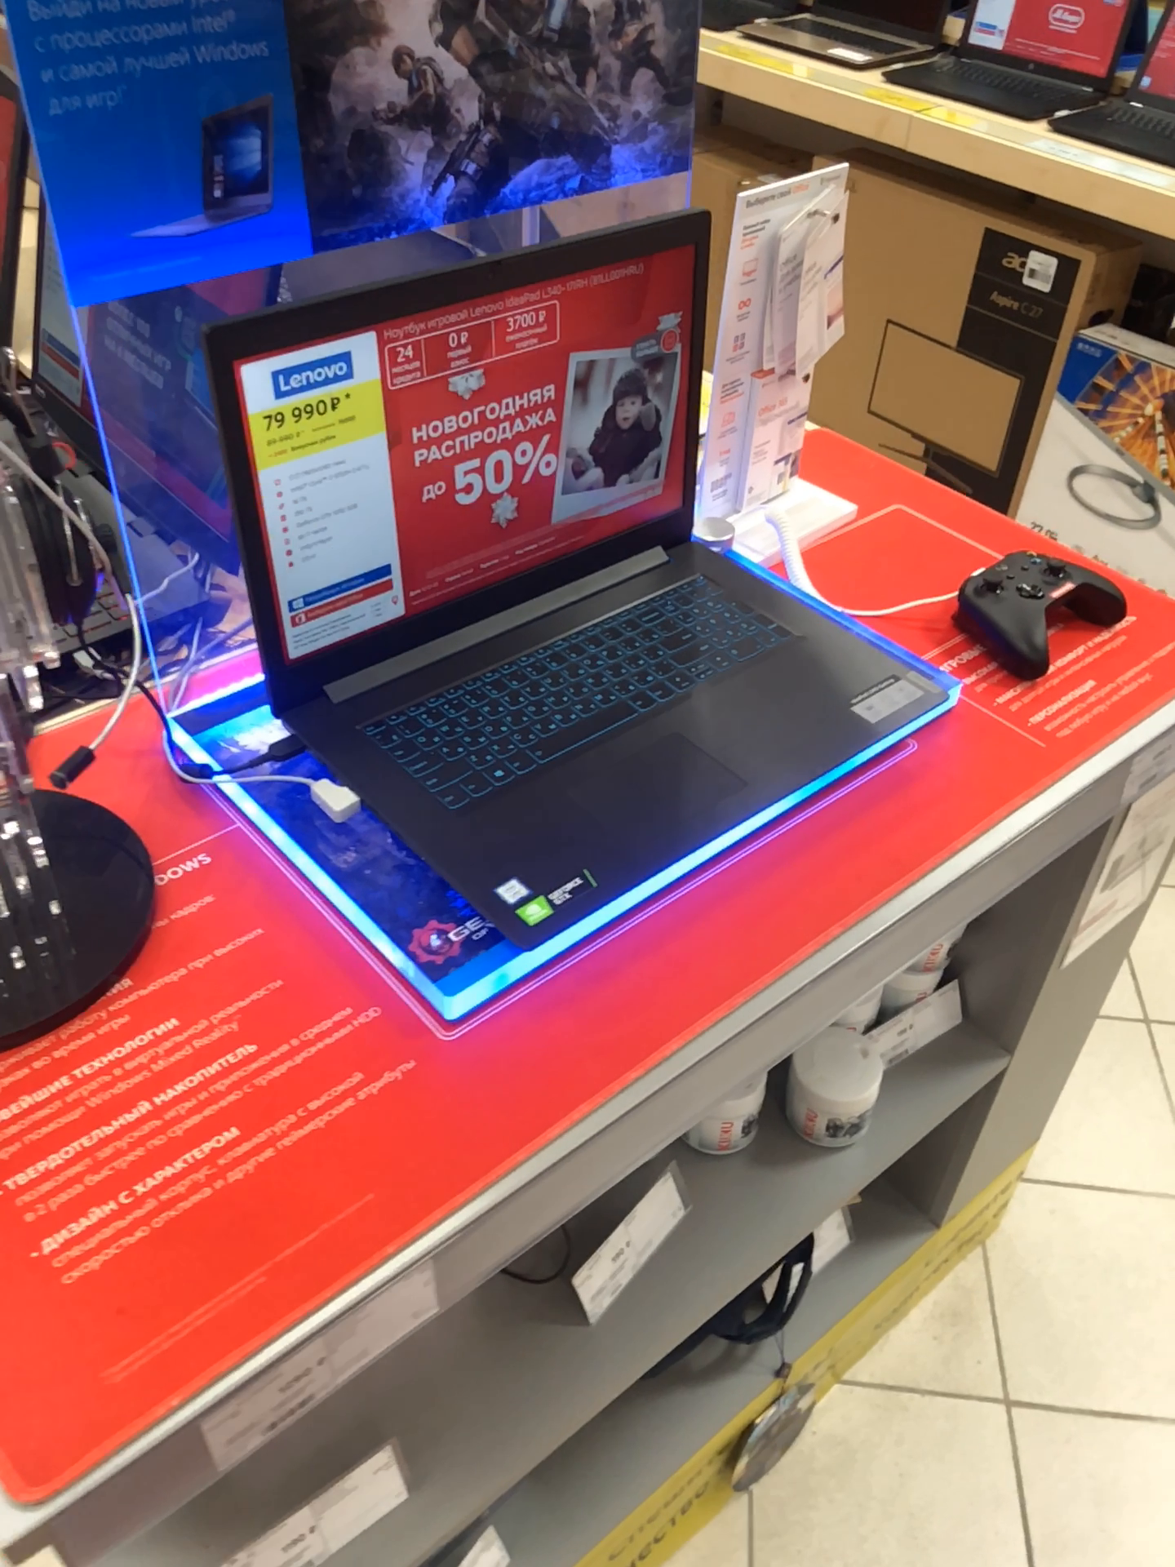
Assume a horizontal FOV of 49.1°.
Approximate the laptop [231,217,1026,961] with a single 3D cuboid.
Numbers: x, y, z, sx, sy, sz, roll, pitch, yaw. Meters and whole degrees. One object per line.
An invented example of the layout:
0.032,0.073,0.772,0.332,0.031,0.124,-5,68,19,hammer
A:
0.025,-0.161,0.865,0.405,0.255,0.295,-27,50,-31,laptop
